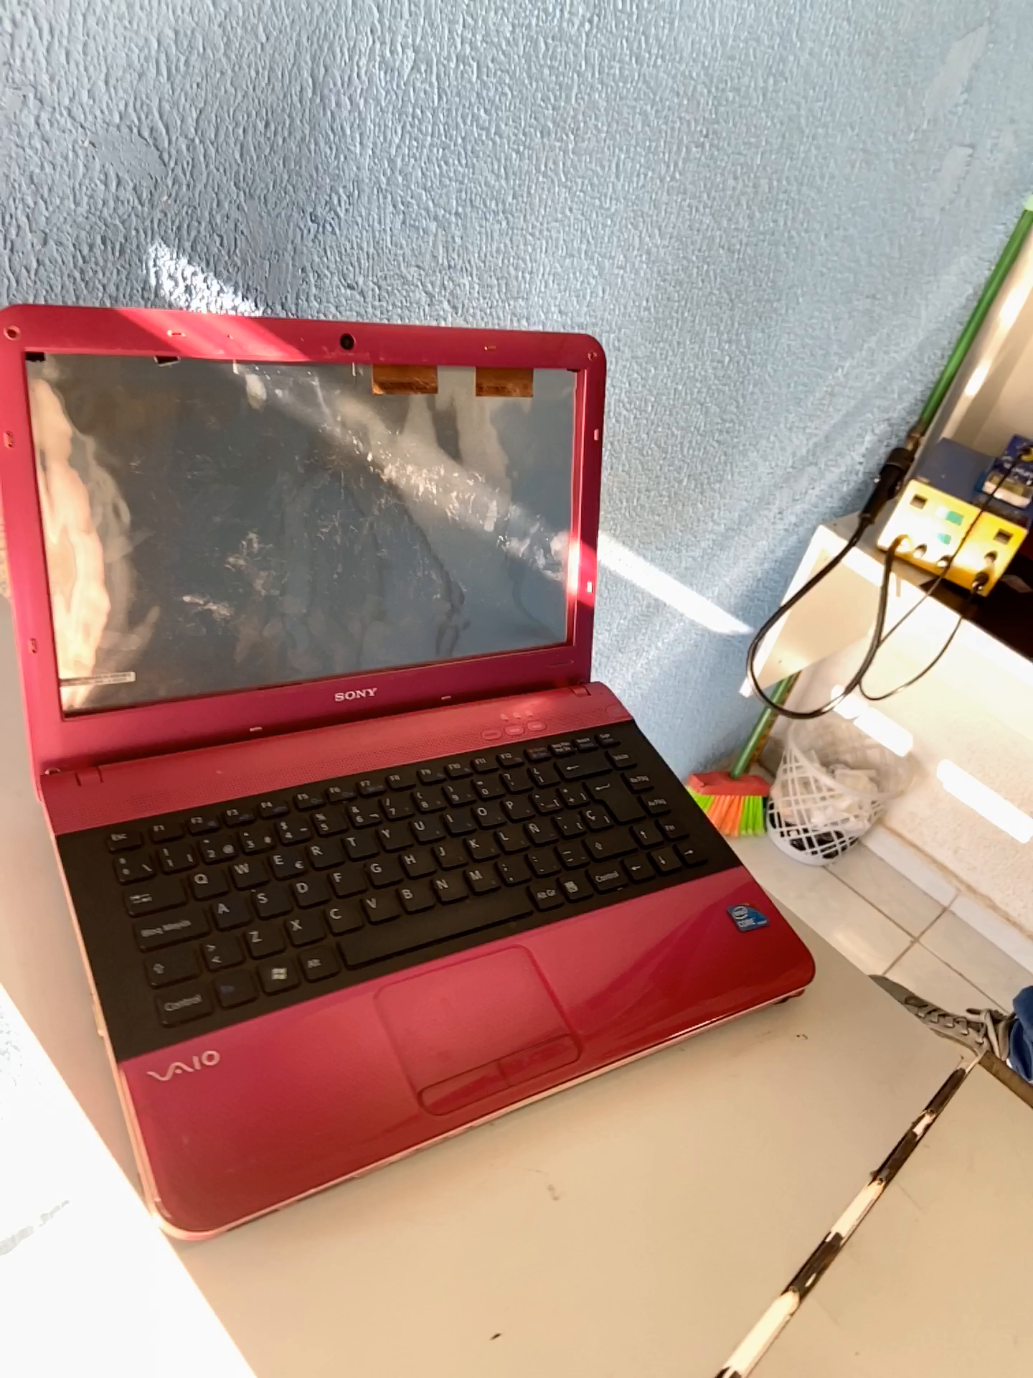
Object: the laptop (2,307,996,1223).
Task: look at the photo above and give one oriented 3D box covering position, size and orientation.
[{"bbox_3d":[-0.038,-0.011,0.519,0.332,0.187,0.340,-9,45,-30],"label":"laptop"}]
